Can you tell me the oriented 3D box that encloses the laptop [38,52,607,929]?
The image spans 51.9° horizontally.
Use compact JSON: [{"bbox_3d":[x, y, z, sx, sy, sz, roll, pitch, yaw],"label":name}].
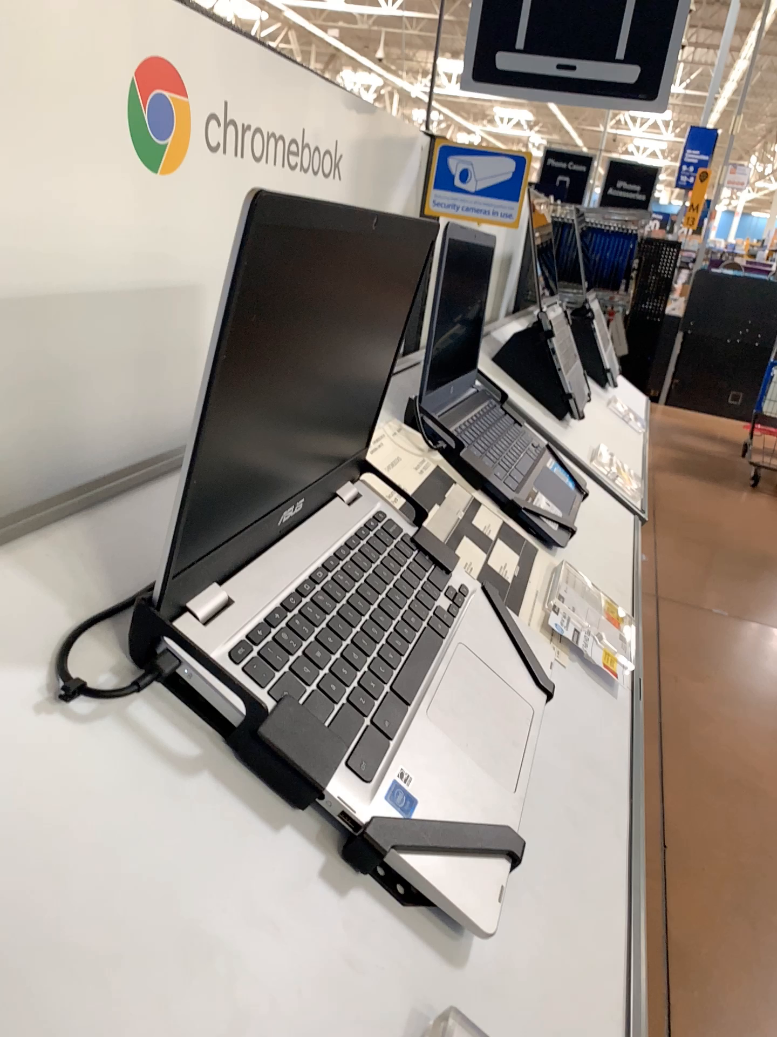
[{"bbox_3d":[-0.004,-0.039,0.499,0.292,0.197,0.309,33,23,5],"label":"laptop"}]
